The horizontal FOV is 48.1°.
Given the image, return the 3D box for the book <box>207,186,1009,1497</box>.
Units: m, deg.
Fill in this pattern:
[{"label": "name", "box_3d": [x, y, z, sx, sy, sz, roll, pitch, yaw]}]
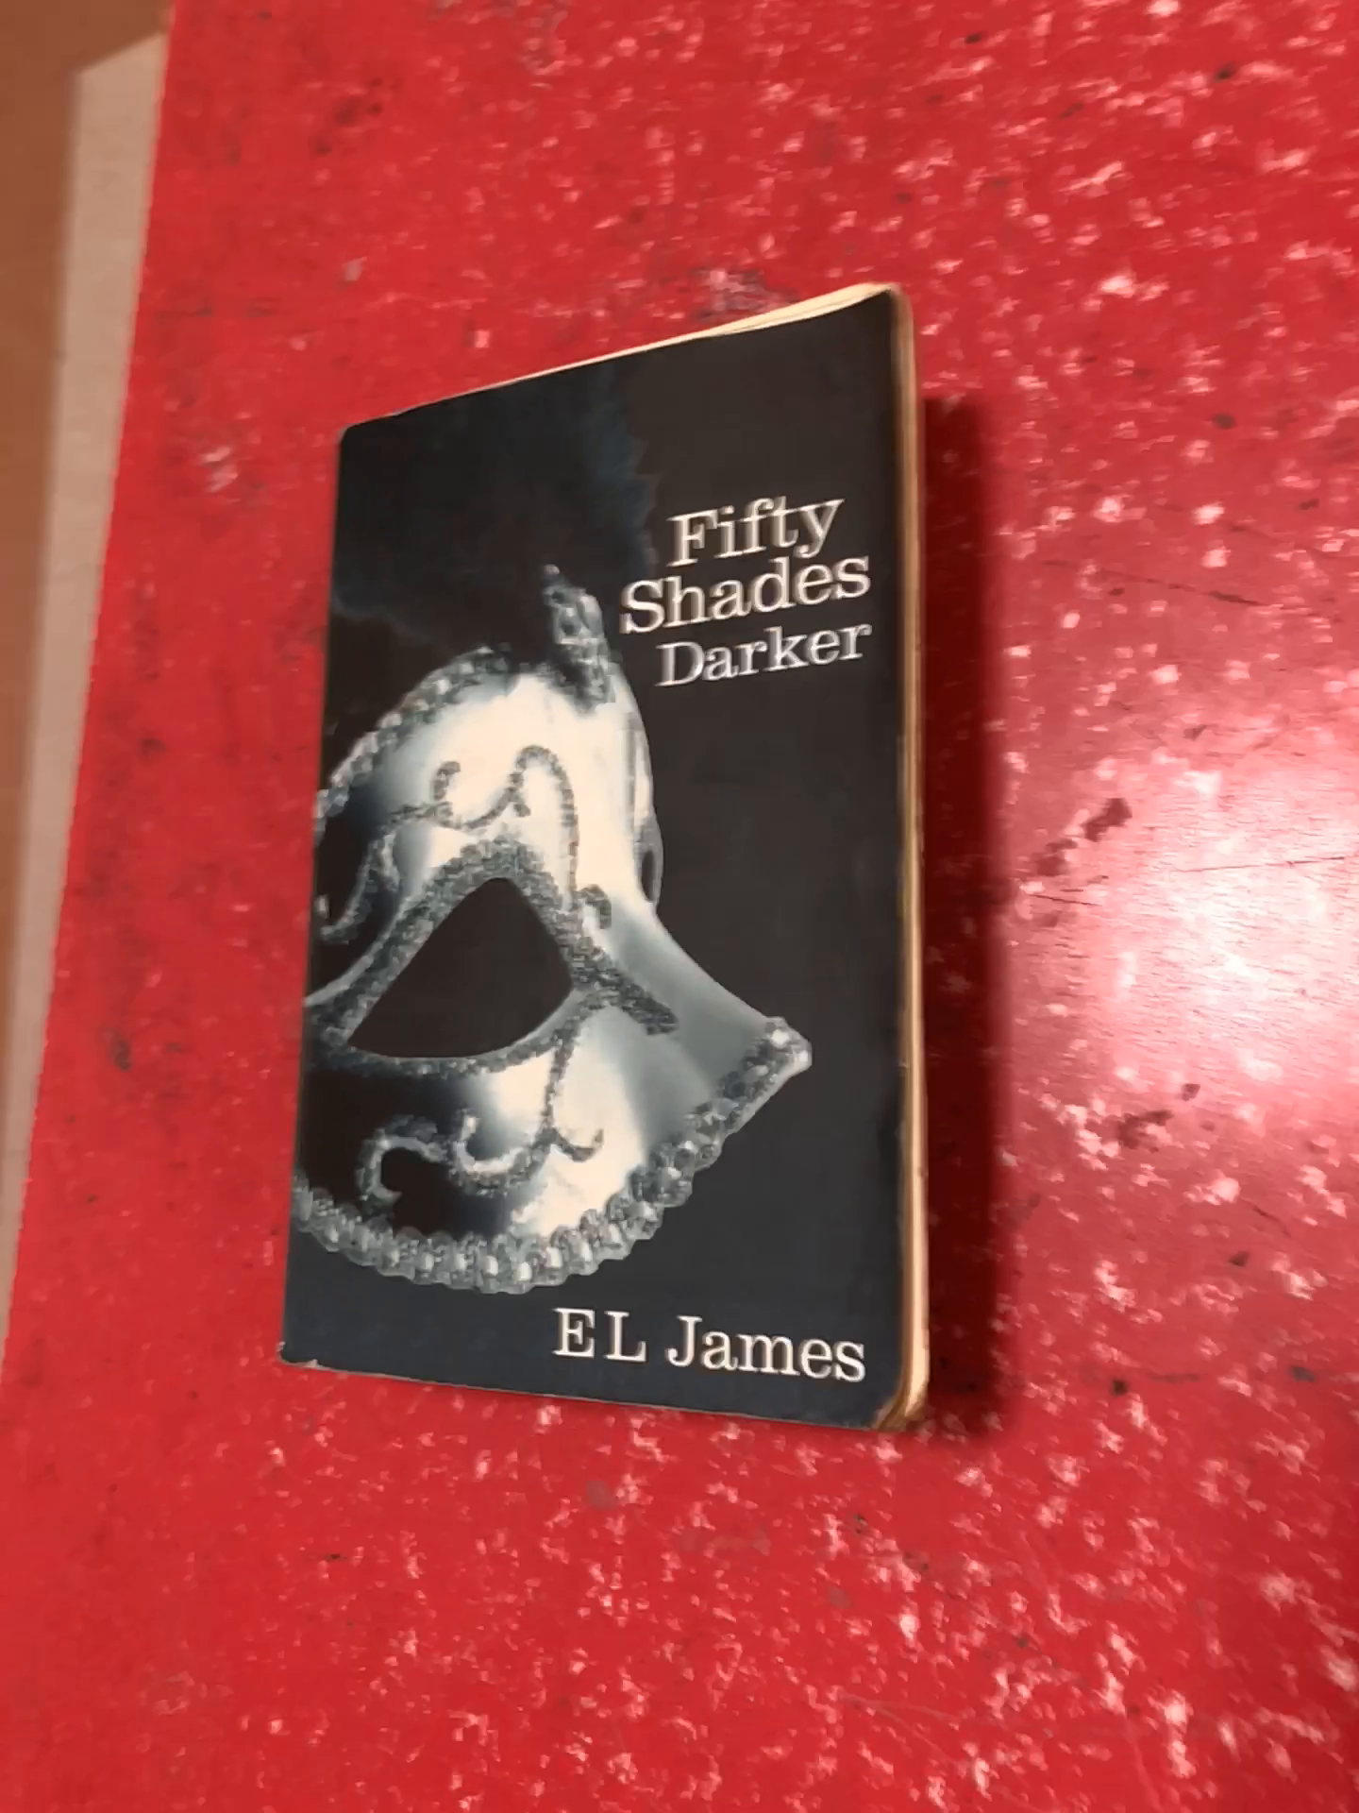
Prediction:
[{"label": "book", "box_3d": [-0.014, -0.009, 0.294, 0.140, 0.050, 0.210, -4, 79, 29]}]
